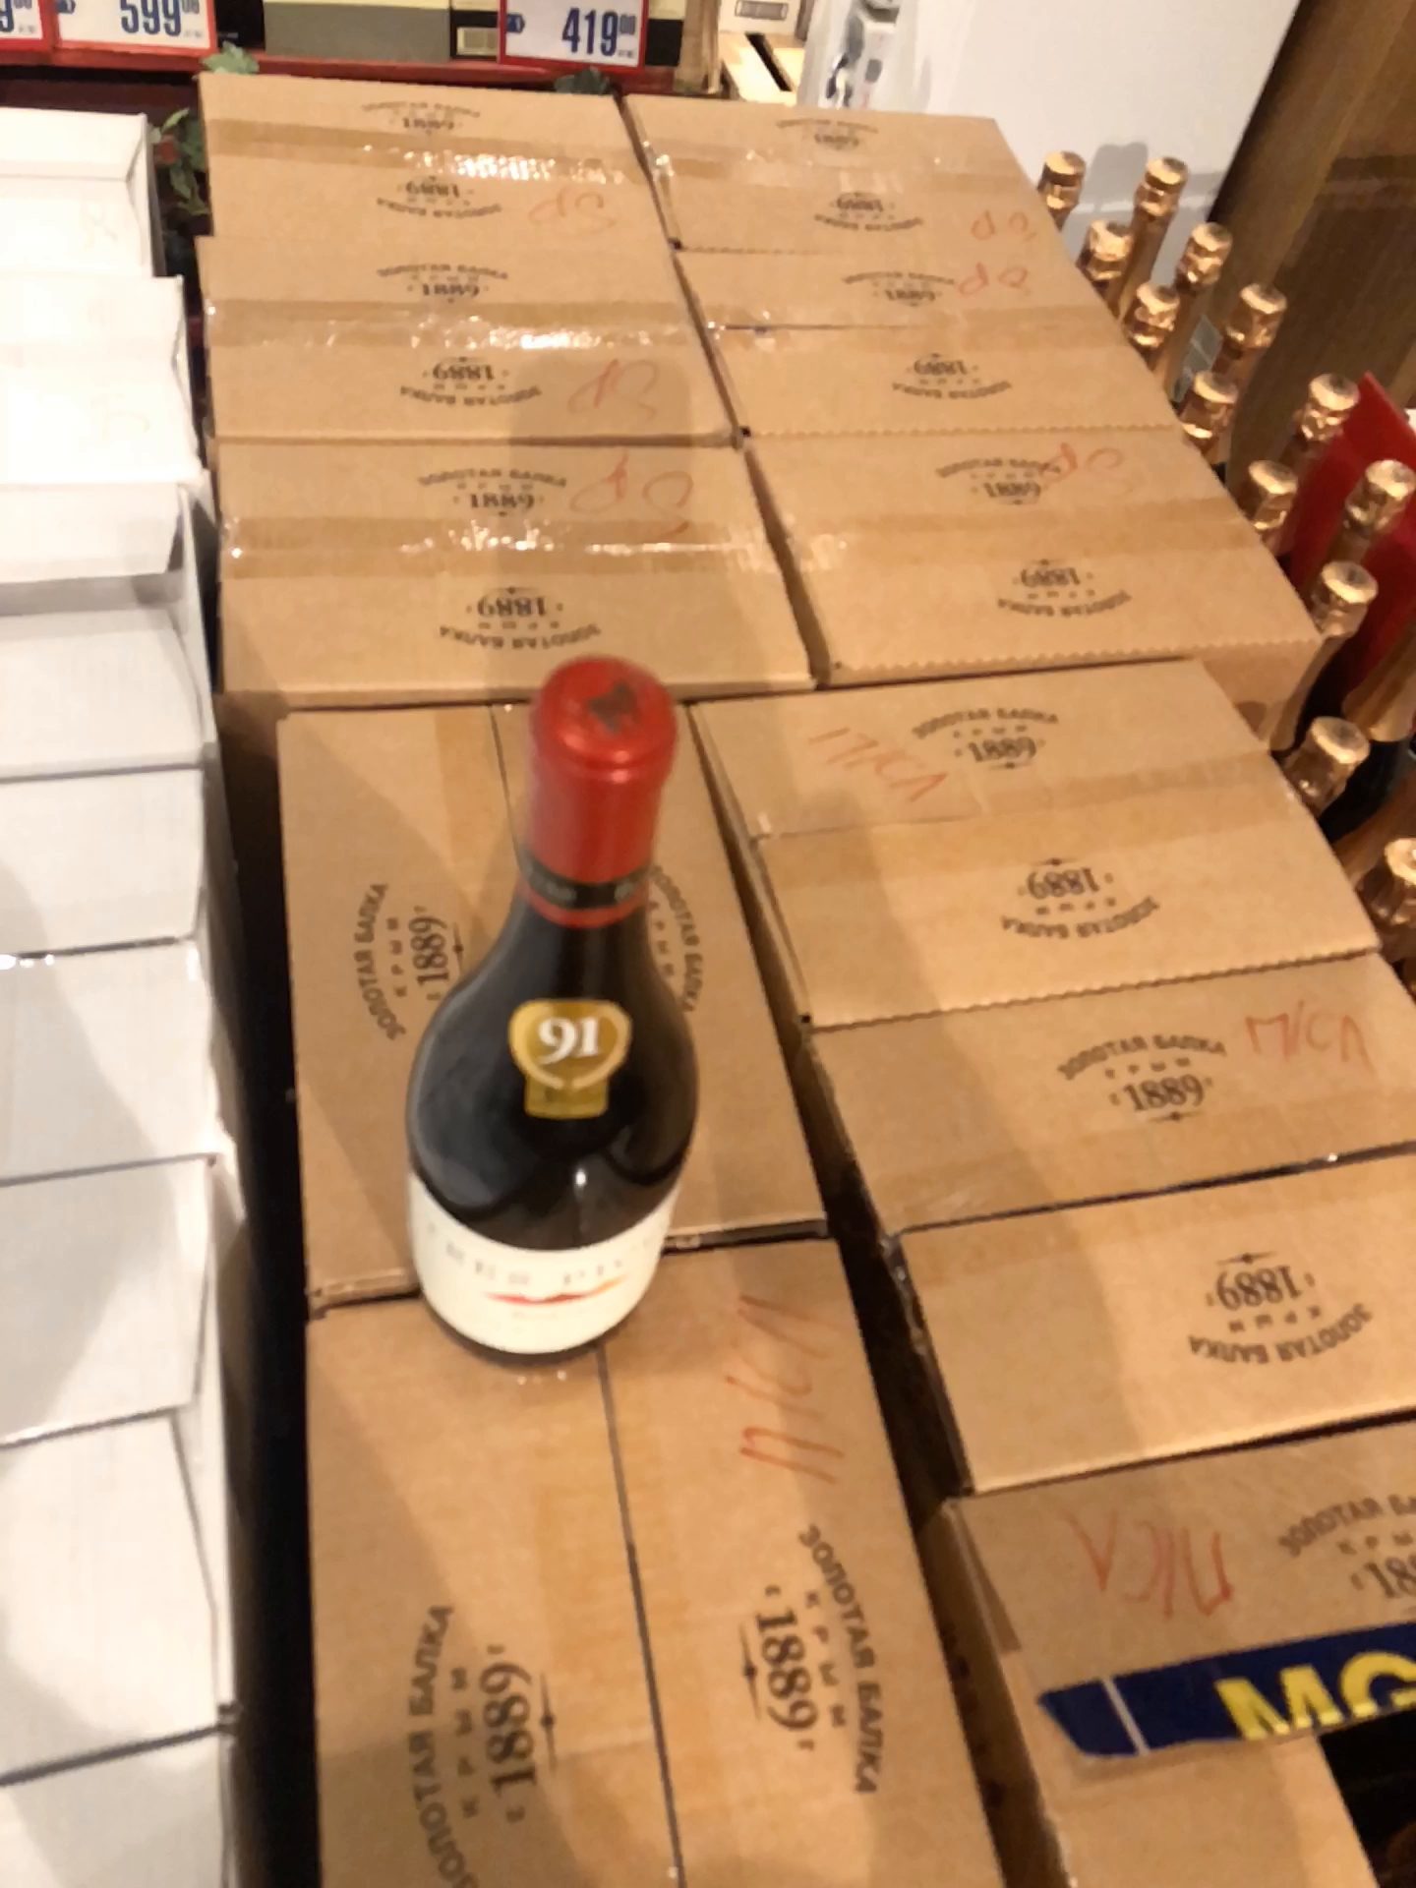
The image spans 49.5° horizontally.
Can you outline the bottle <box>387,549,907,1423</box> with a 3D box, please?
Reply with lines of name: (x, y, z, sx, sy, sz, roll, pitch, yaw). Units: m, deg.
bottle: (-0.037, 0.032, 0.428, 0.100, 0.269, 0.100, 5, 52, -7)
